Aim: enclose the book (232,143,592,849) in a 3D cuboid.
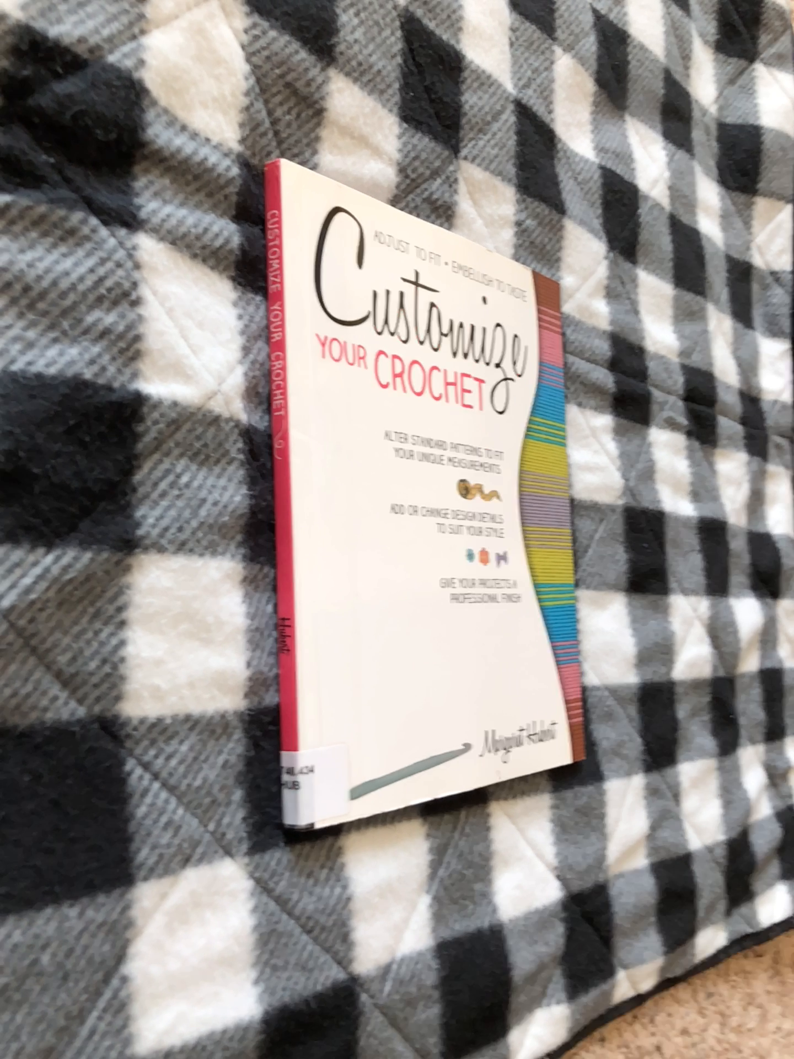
[{"bbox_3d":[0.016,-0.010,0.368,0.187,0.020,0.238,4,81,-47],"label":"book"}]
